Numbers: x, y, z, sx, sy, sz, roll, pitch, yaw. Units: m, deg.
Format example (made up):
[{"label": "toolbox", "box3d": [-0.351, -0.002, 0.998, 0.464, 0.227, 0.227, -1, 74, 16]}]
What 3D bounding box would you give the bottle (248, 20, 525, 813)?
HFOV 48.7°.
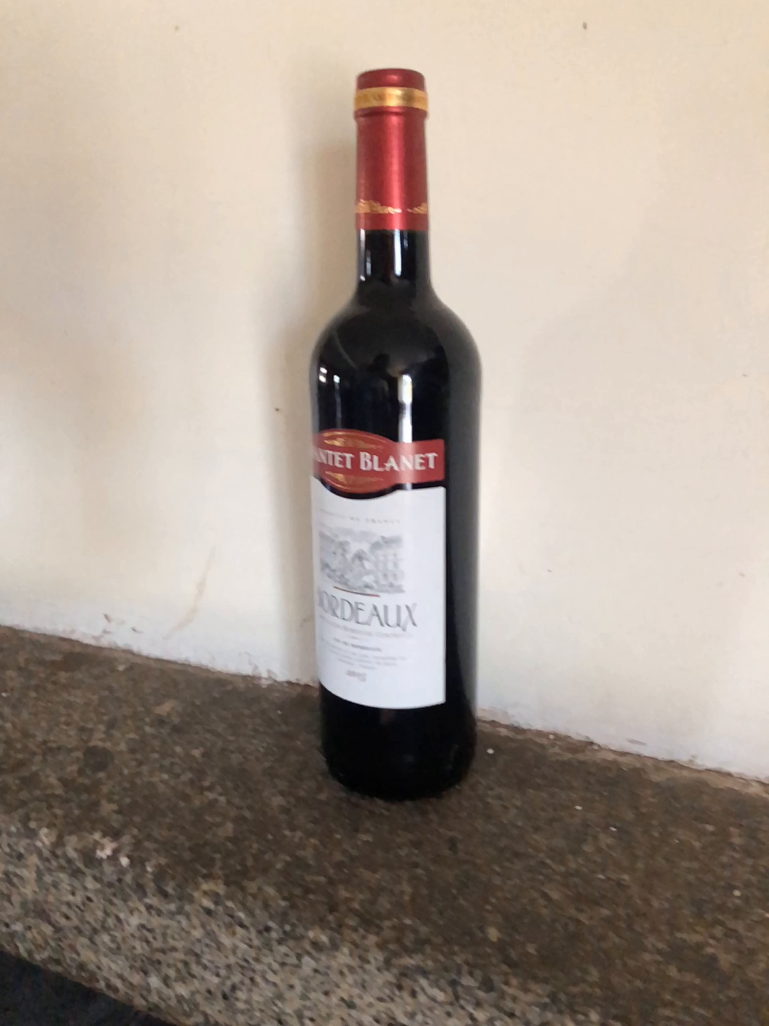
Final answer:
[{"label": "bottle", "box3d": [0.008, -0.032, 0.360, 0.080, 0.289, 0.080, -1, 14, 0]}]
